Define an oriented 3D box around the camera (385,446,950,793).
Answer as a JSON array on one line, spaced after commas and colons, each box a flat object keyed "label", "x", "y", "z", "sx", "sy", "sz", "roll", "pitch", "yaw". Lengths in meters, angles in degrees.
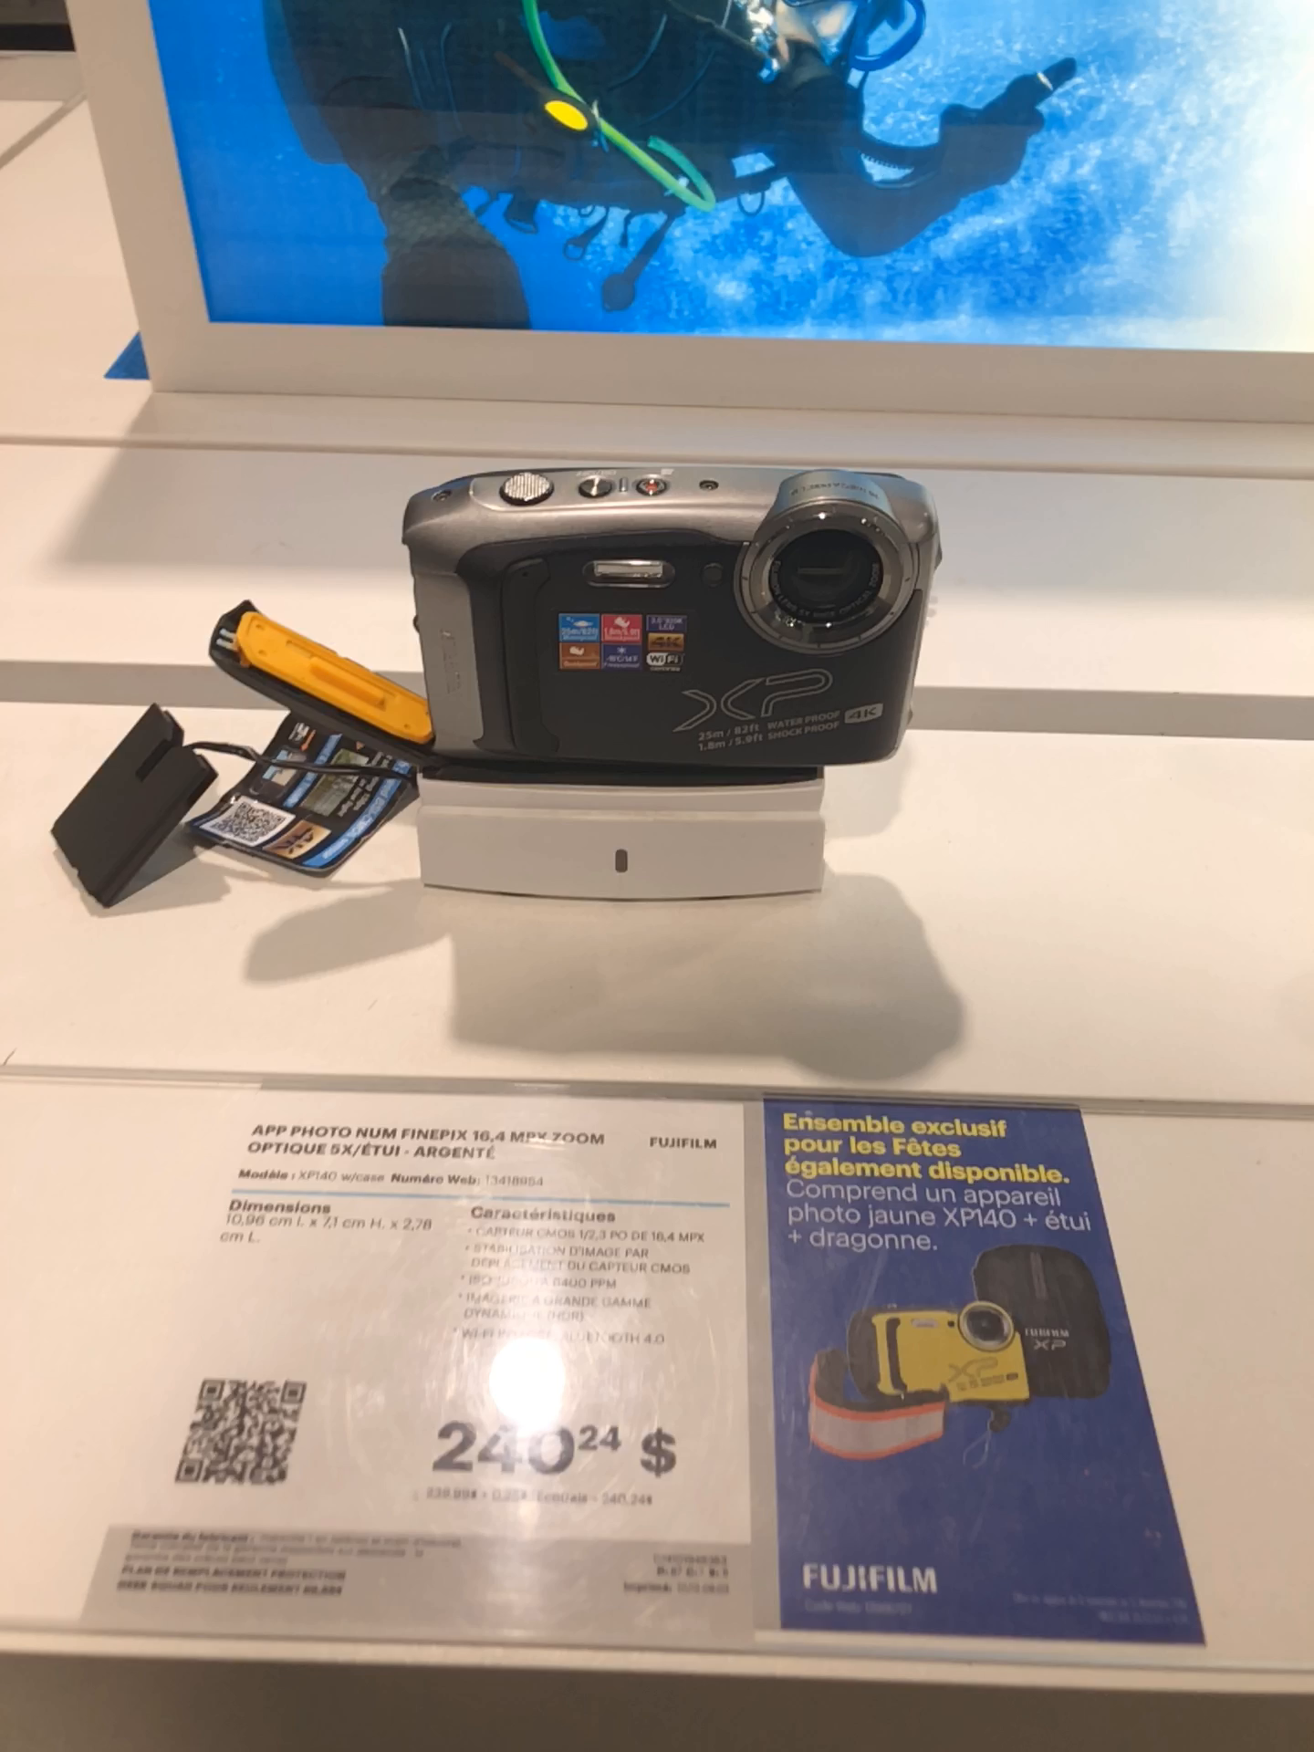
[{"label": "camera", "x": 0.002, "y": -0.052, "z": 0.304, "sx": 0.106, "sy": 0.069, "sz": 0.023, "roll": 0, "pitch": 41, "yaw": -1}]
